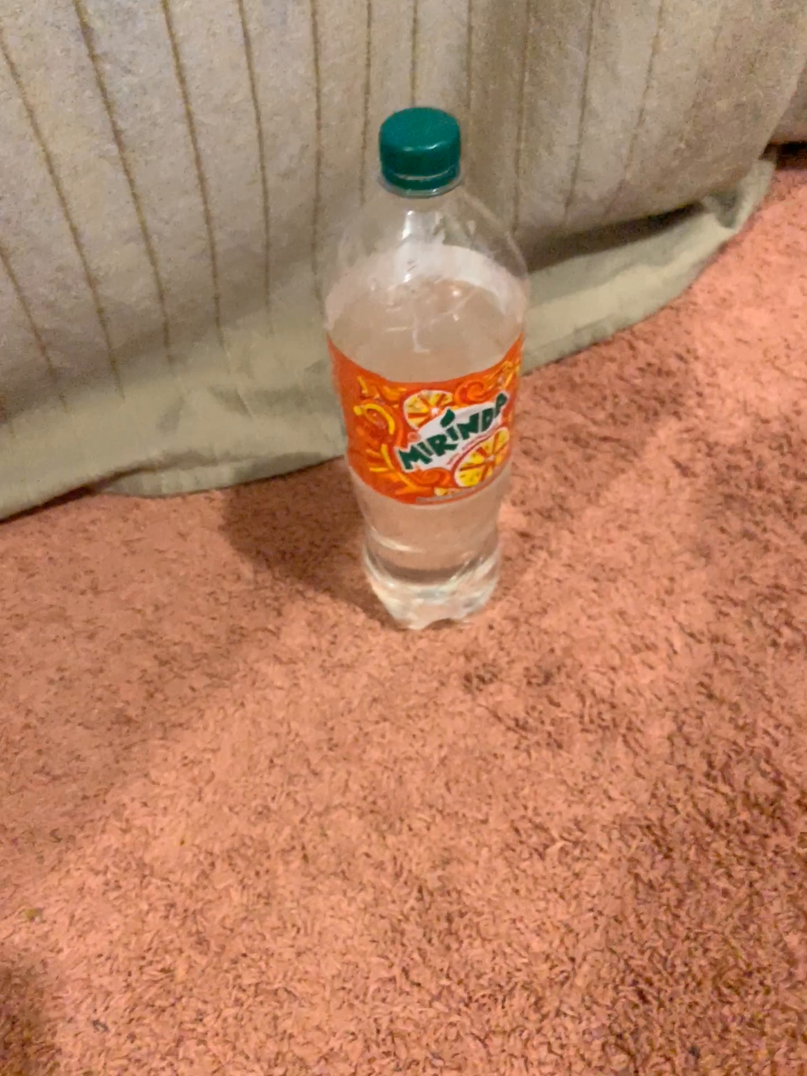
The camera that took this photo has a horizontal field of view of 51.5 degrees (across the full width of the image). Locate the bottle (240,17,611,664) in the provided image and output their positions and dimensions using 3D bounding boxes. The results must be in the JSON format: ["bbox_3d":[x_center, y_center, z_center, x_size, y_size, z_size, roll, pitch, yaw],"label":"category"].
[{"bbox_3d":[0.010,-0.066,0.415,0.100,0.298,0.101,-1,54,2],"label":"bottle"}]
